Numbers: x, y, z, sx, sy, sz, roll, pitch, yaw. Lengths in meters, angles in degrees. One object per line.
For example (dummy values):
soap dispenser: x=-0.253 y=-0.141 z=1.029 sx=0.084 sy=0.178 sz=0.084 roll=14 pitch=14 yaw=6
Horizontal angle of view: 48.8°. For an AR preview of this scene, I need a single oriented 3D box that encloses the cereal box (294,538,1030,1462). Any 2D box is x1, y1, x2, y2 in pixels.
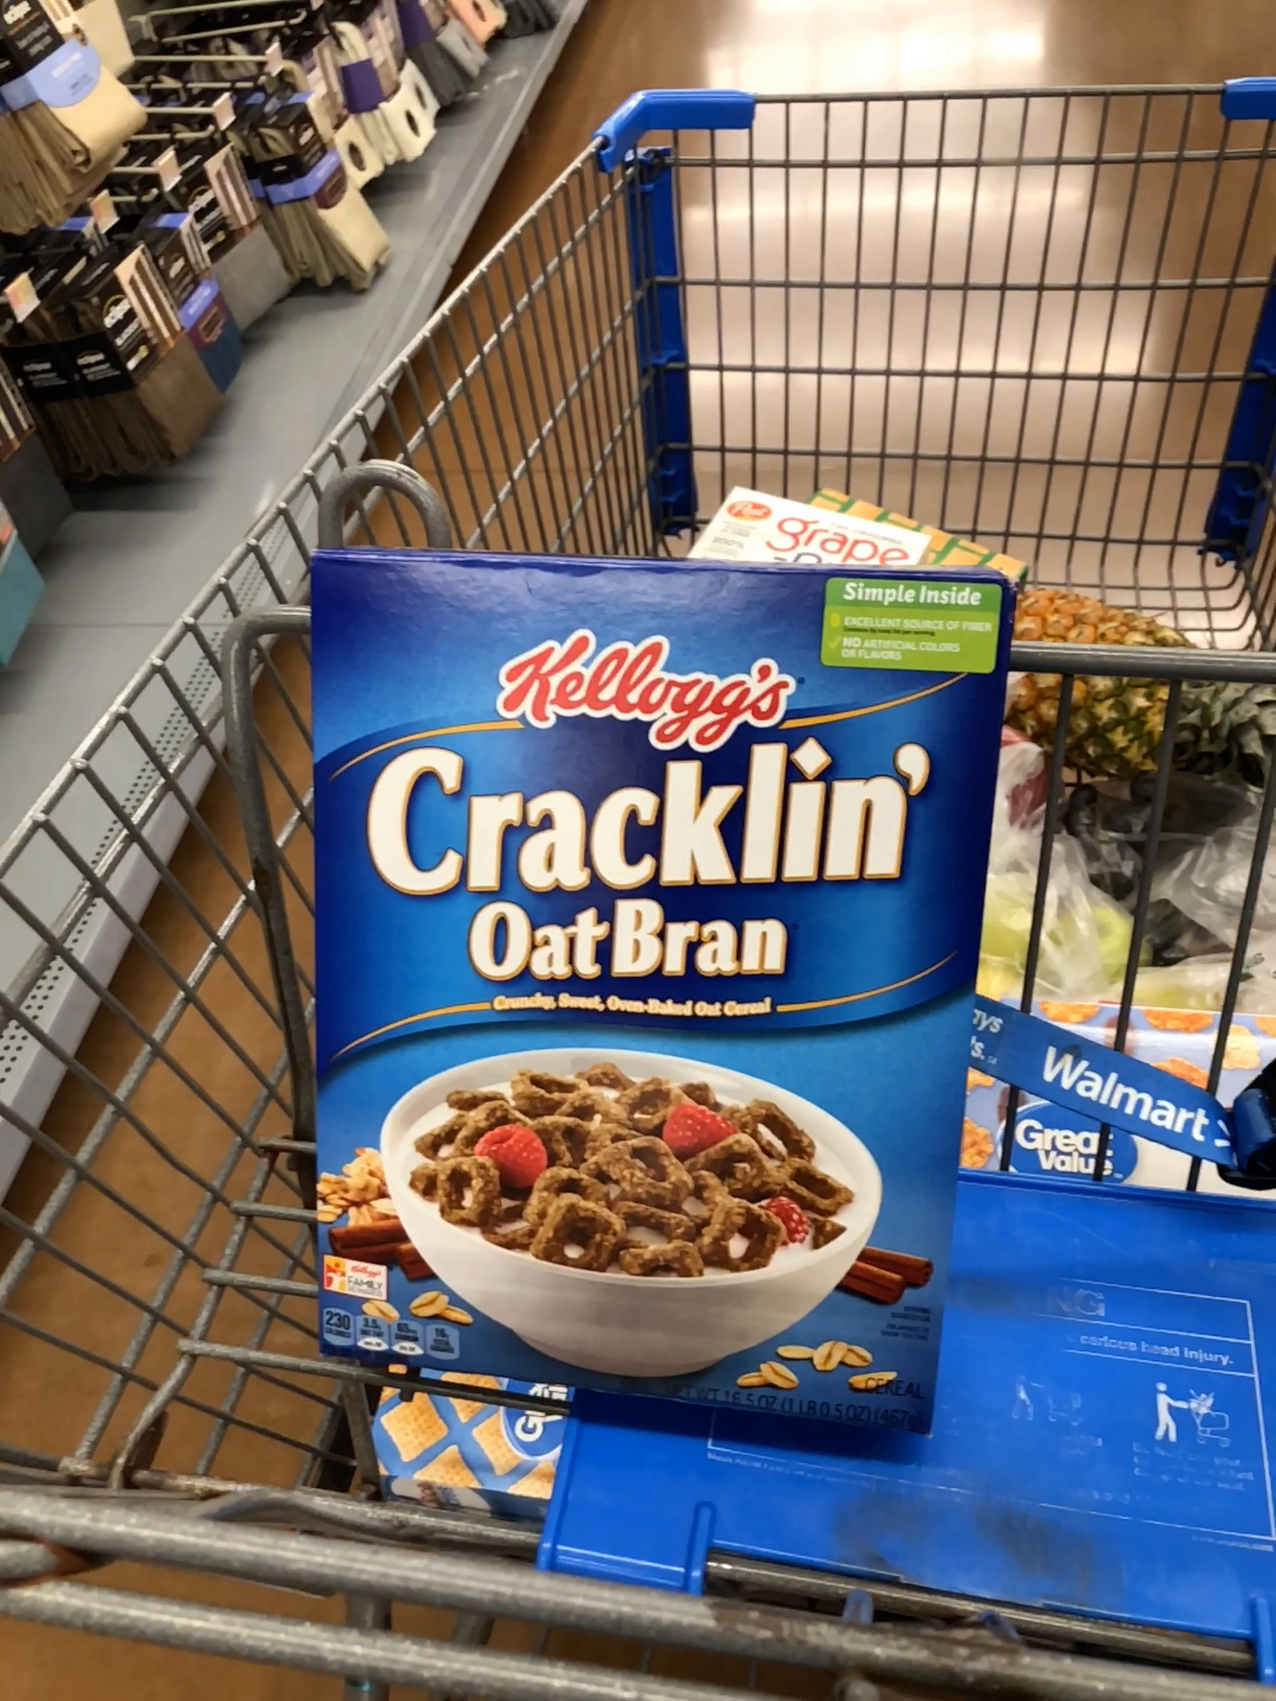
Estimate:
cereal box: x=0.003 y=0.041 z=0.427 sx=0.200 sy=0.260 sz=0.050 roll=3 pitch=11 yaw=9
